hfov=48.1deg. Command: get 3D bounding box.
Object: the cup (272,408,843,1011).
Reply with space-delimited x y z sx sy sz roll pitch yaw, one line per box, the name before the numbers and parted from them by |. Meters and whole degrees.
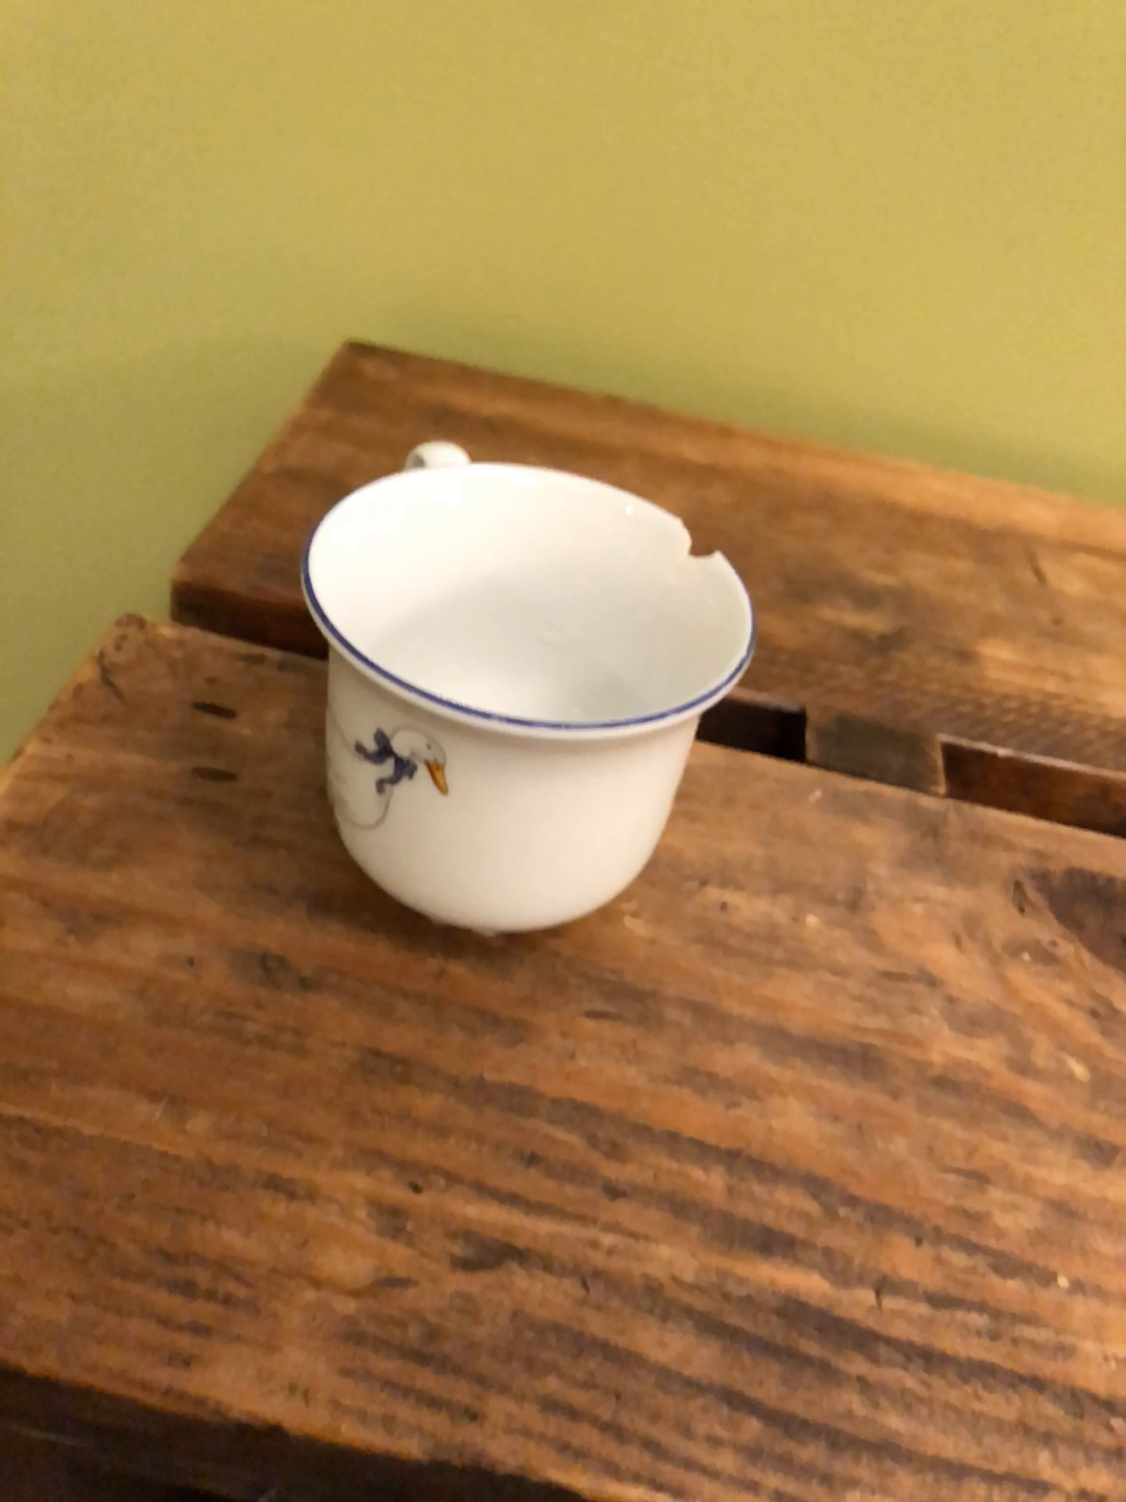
cup | -0.012 -0.014 0.261 0.090 0.066 0.108 -2 41 -14
